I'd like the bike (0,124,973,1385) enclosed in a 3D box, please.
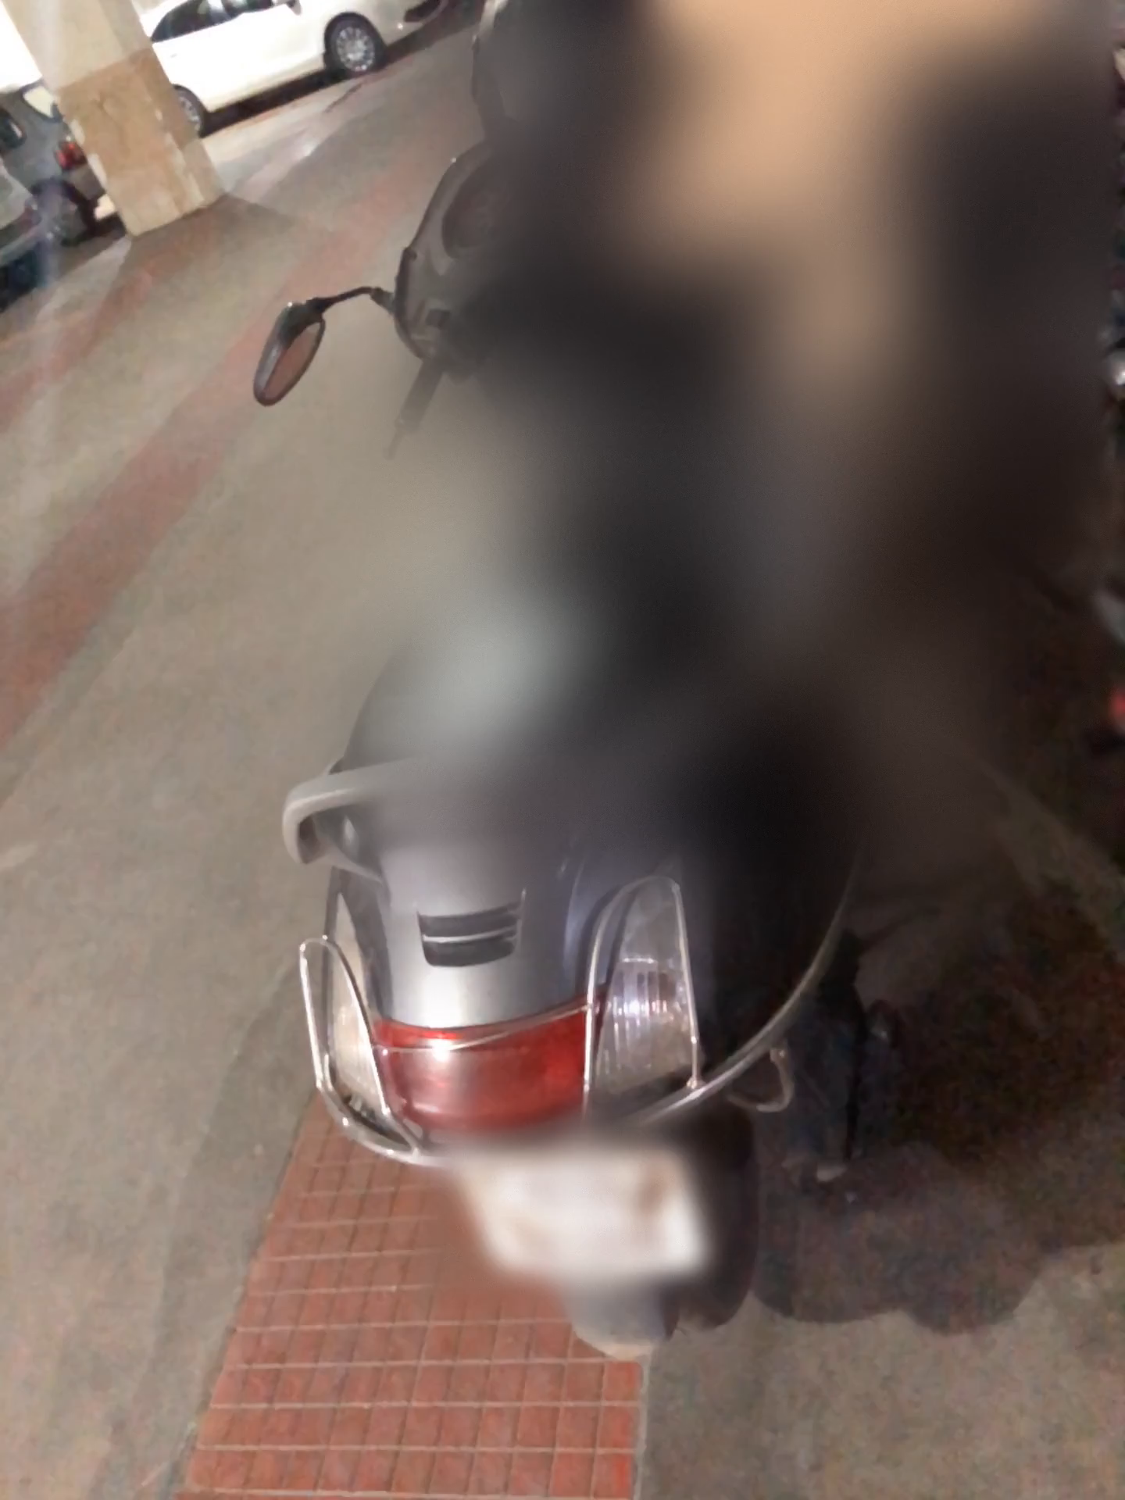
[{"bbox_3d":[-0.005,-0.120,1.667,0.595,0.988,1.501,-15,33,15],"label":"bike"}]
